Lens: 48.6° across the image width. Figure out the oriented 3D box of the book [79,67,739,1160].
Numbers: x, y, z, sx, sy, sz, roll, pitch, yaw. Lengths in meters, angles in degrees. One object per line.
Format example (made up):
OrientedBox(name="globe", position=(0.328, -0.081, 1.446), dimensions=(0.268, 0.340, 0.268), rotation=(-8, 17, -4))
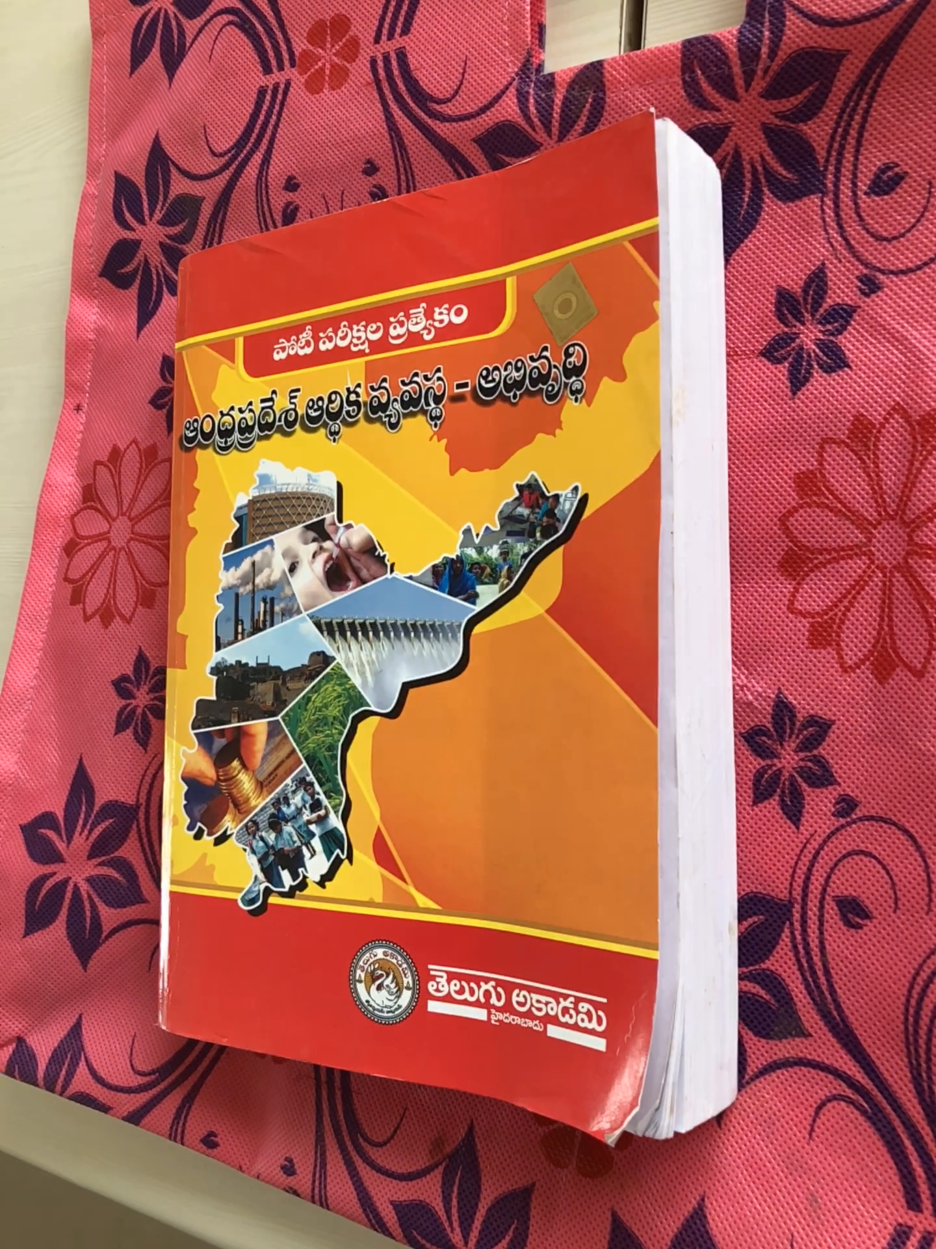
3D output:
OrientedBox(name="book", position=(-0.026, -0.002, 0.321), dimensions=(0.201, 0.060, 0.260), rotation=(-2, 88, 29))
